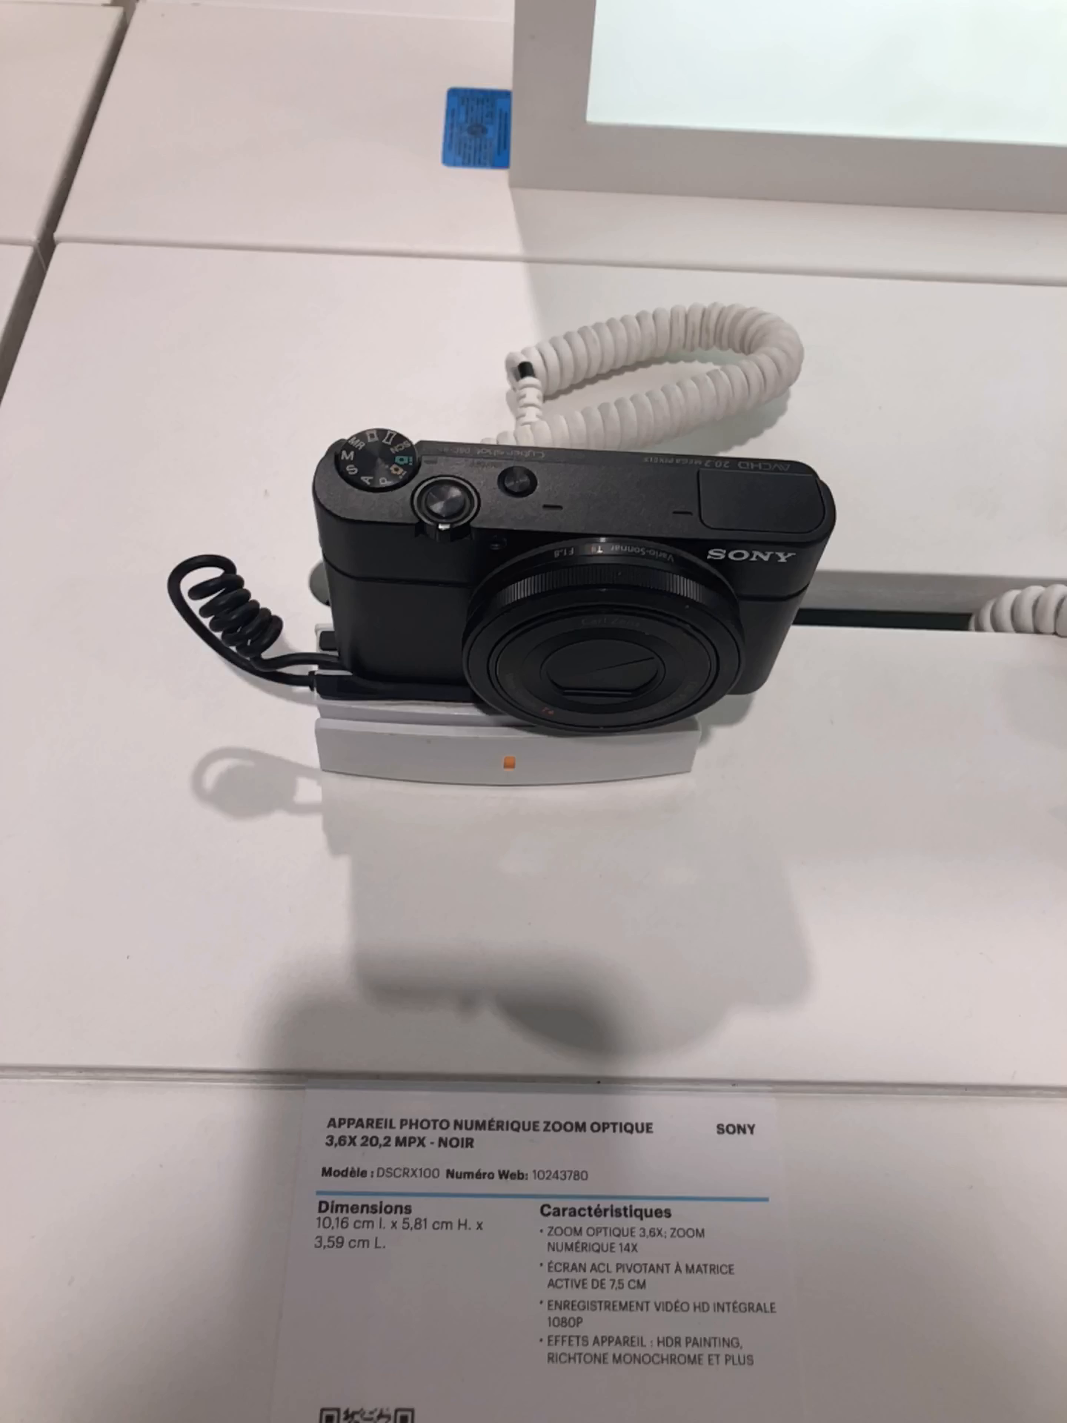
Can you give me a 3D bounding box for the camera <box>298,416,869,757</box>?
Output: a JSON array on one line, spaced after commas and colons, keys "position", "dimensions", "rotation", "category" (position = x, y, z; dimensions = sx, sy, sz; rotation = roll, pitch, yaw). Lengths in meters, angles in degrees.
[{"position": [0.008, -0.023, 0.241], "dimensions": [0.100, 0.056, 0.036], "rotation": [3, 56, -1], "category": "camera"}]
